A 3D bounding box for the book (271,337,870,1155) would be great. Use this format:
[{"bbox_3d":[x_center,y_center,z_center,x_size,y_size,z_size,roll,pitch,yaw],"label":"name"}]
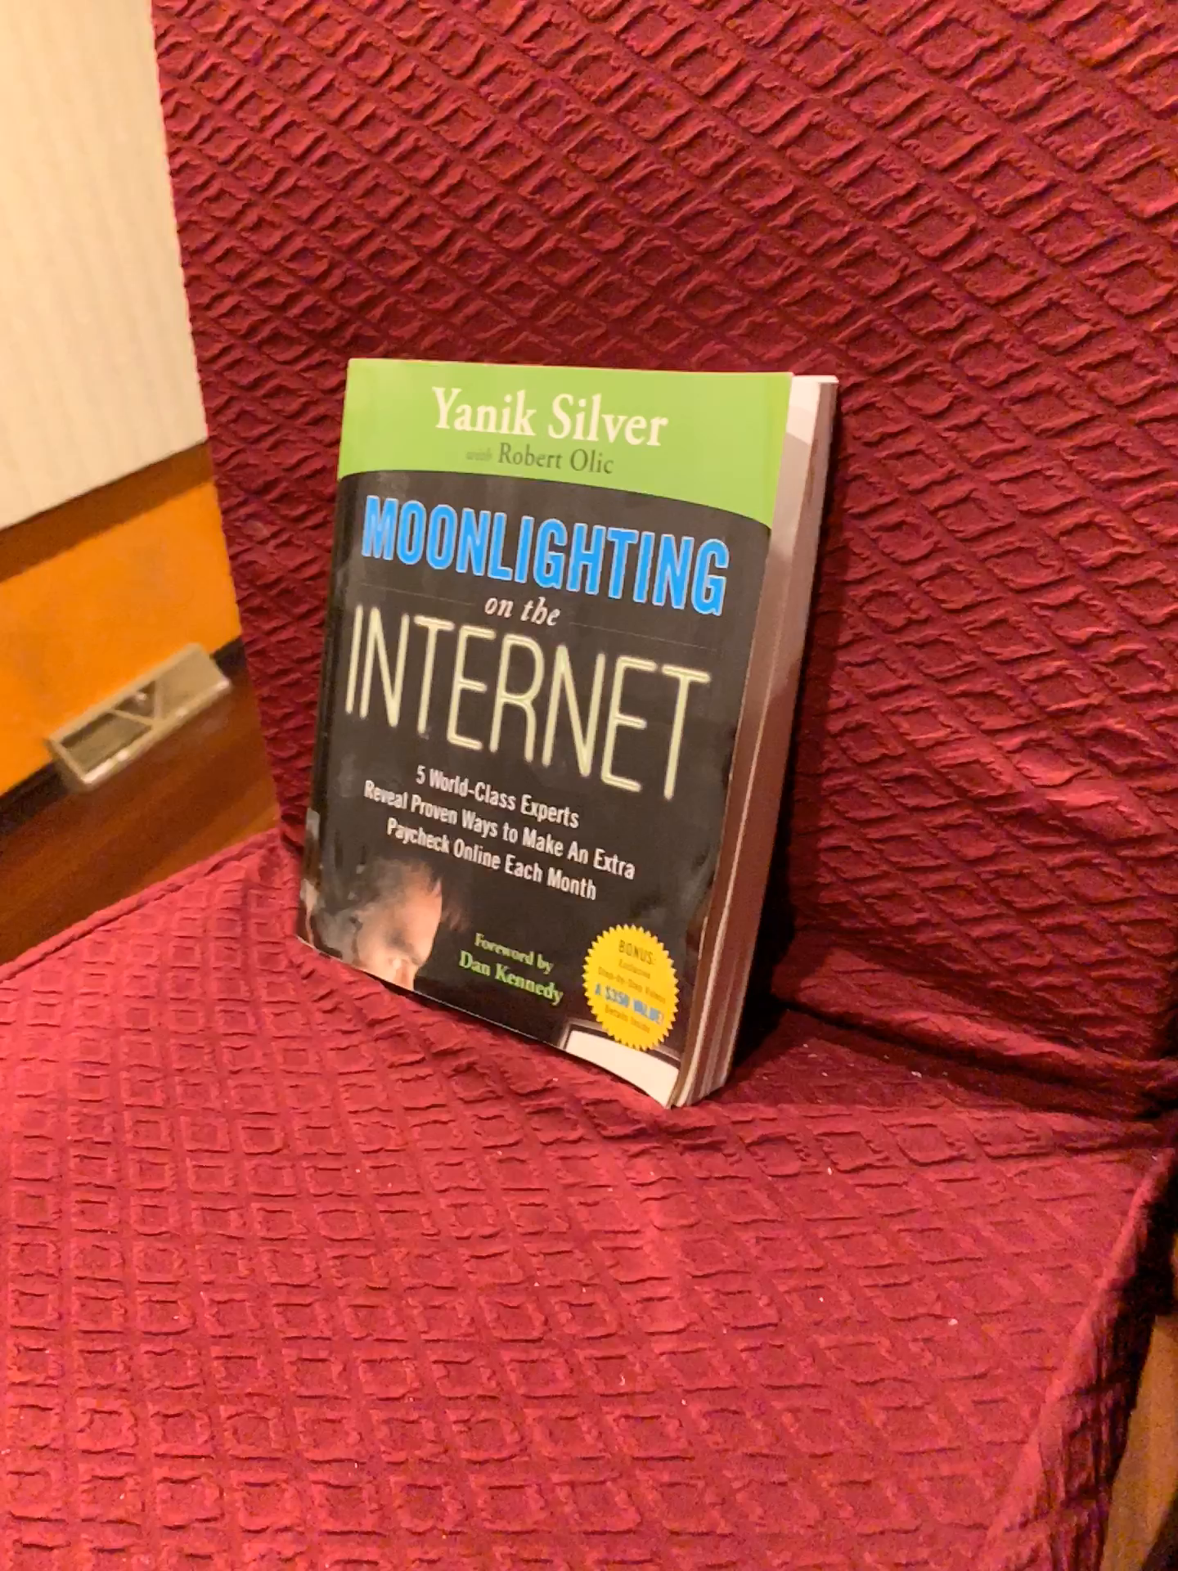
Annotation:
[{"bbox_3d":[-0.022,-0.027,0.424,0.201,0.239,0.040,15,13,35],"label":"book"}]
